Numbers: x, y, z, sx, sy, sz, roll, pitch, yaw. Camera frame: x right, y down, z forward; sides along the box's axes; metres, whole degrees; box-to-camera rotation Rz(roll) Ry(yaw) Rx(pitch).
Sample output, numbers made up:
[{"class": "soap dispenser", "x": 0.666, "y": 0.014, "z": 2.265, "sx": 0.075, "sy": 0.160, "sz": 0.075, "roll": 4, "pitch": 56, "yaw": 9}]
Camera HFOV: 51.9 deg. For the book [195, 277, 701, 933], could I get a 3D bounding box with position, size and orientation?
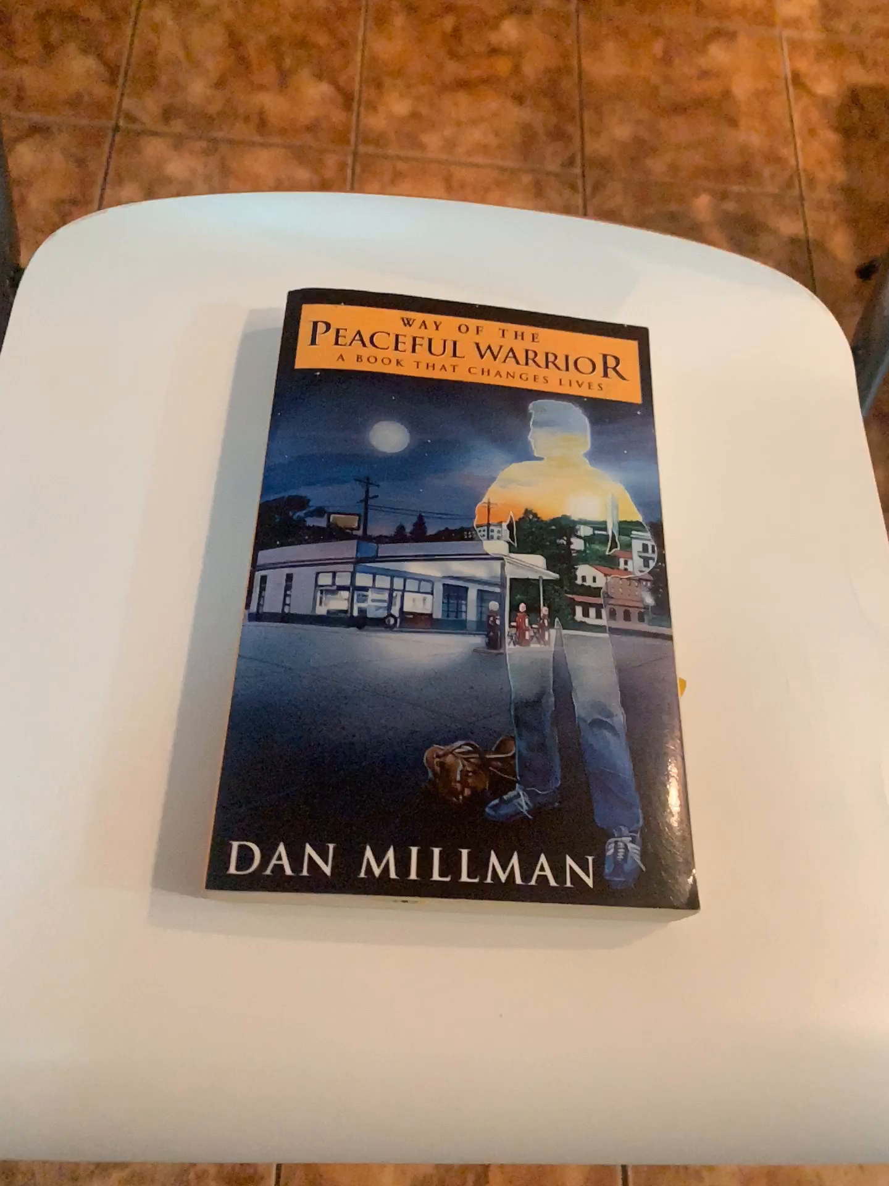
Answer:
[{"class": "book", "x": 0.006, "y": -0.001, "z": 0.309, "sx": 0.141, "sy": 0.039, "sz": 0.211, "roll": 5, "pitch": 69, "yaw": -4}]
